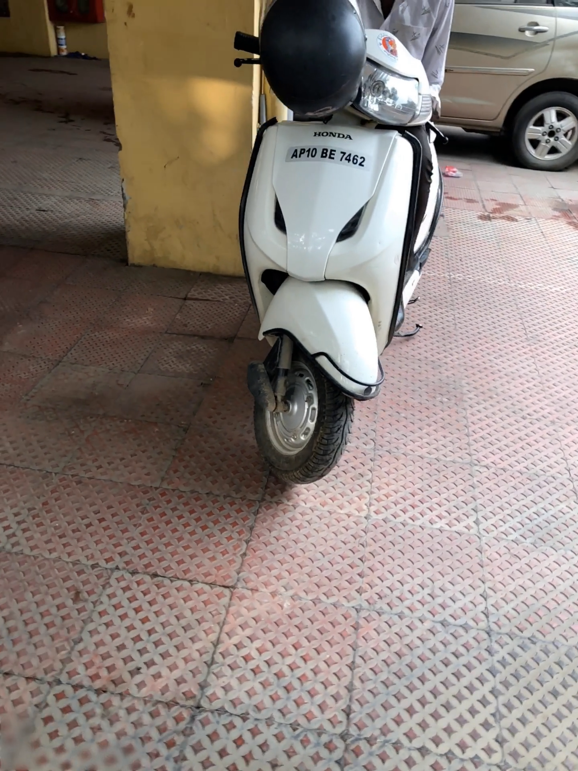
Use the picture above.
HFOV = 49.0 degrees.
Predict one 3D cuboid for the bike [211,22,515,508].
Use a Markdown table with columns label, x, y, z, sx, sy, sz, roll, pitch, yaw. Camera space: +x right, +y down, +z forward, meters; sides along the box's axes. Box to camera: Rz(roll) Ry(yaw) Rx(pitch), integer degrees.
| label | x | y | z | sx | sy | sz | roll | pitch | yaw |
| --- | --- | --- | --- | --- | --- | --- | --- | --- | --- |
| bike | 0.245 | -0.543 | 2.225 | 0.656 | 1.107 | 1.399 | 8 | 34 | 7 |
